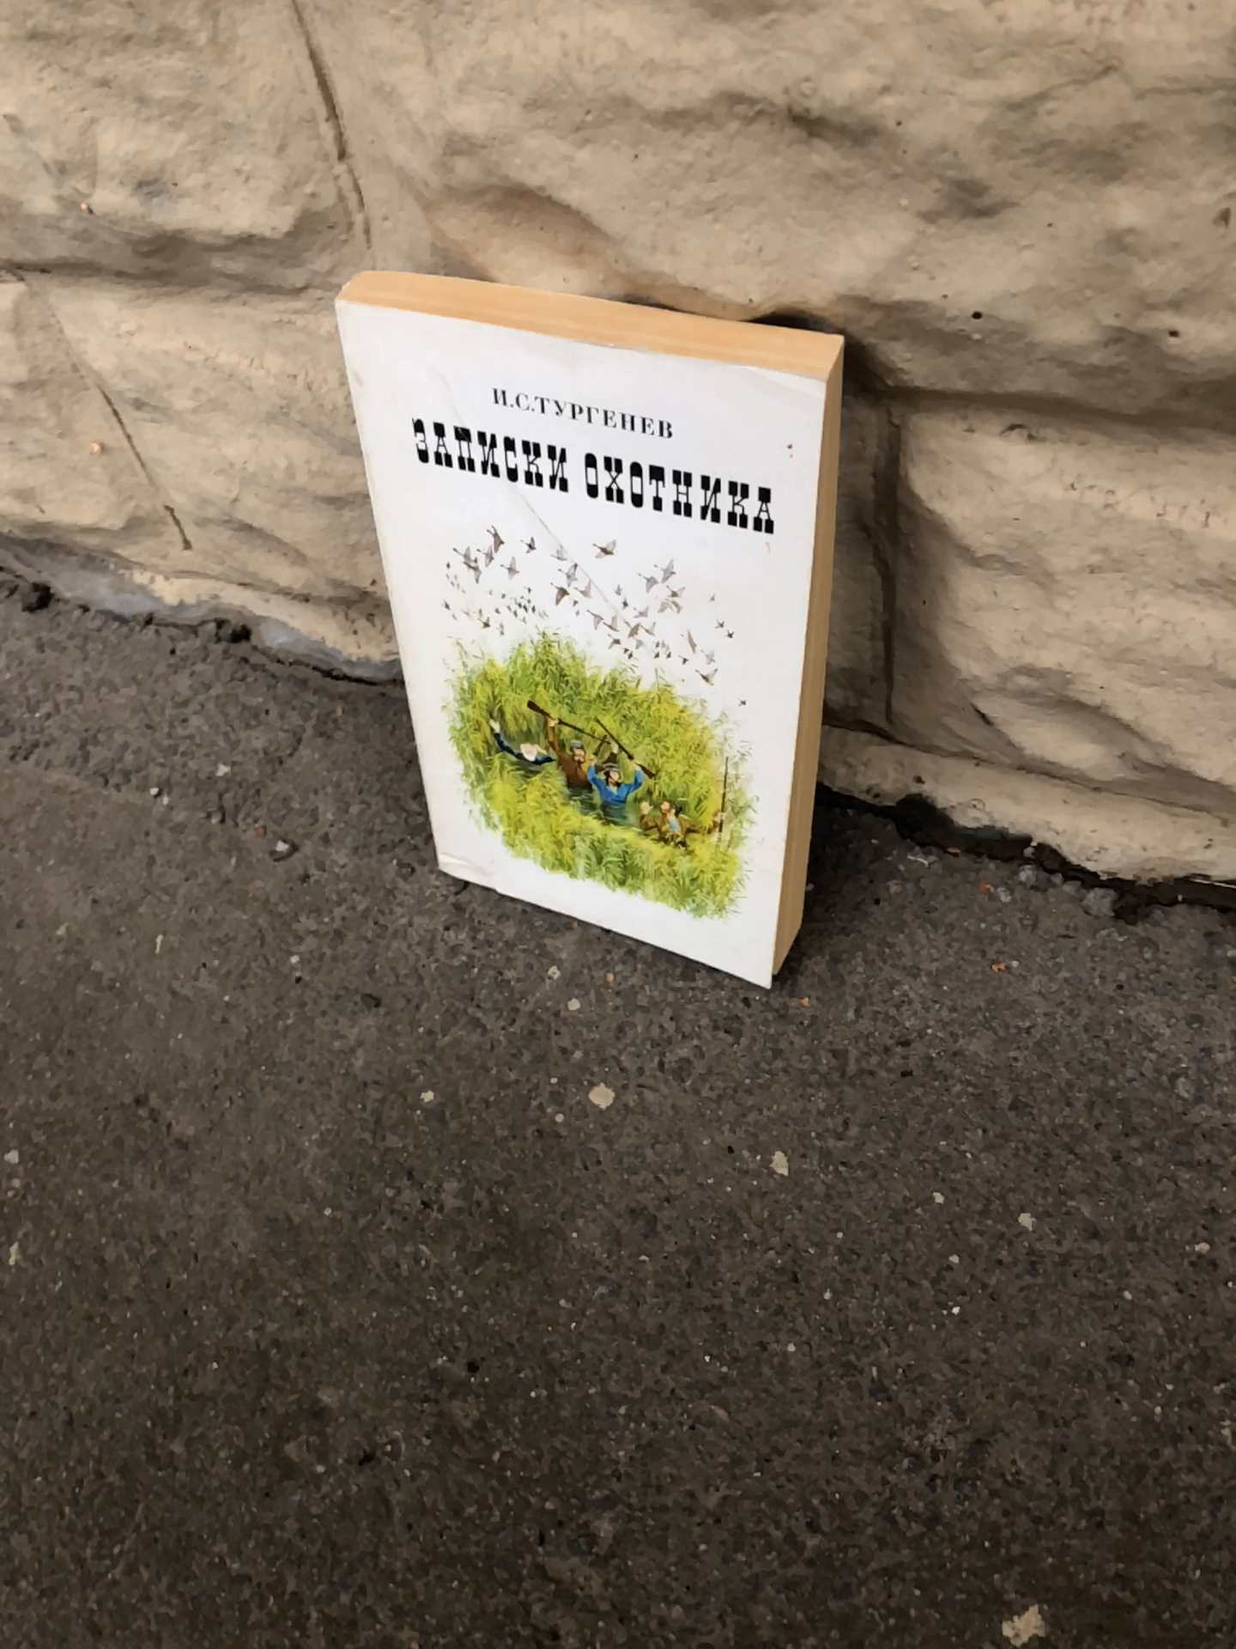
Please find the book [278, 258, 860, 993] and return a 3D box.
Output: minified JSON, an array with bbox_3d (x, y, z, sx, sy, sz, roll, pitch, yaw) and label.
[{"bbox_3d":[-0.012,-0.048,0.377,0.137,0.183,0.032,17,44,21],"label":"book"}]
